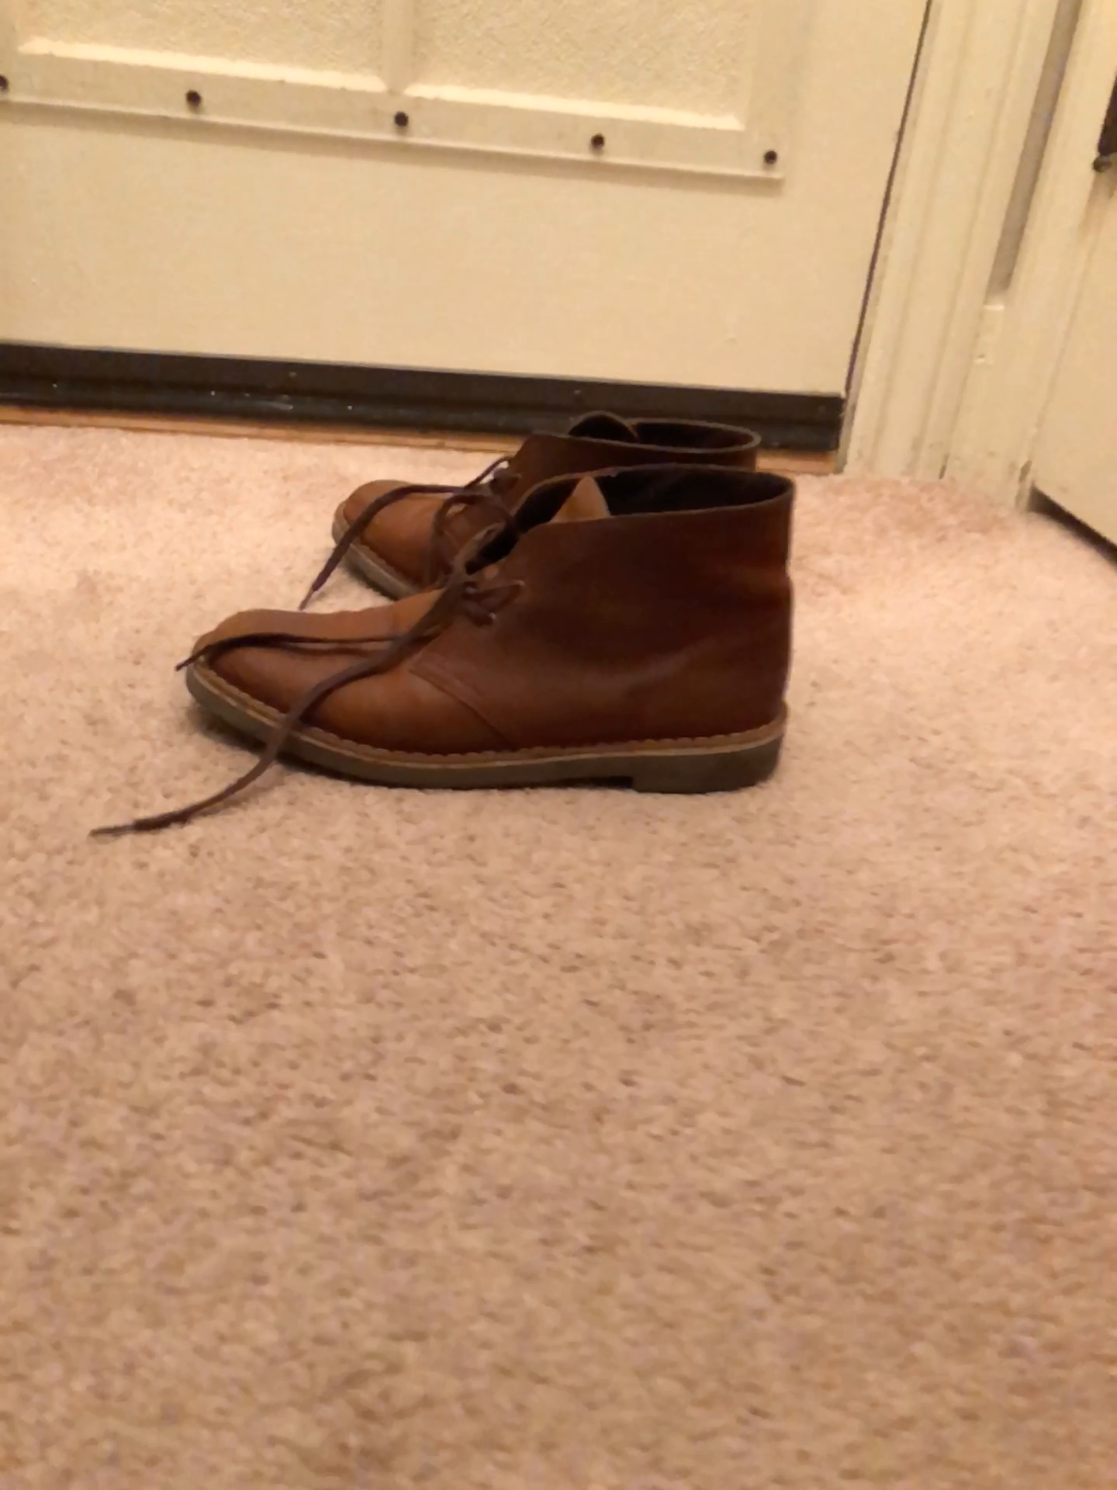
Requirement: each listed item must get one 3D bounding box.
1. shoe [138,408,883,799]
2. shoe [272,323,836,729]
[{"bbox_3d":[-0.026,-0.065,0.571,0.303,0.138,0.111,1,29,-10],"label":"shoe"},{"bbox_3d":[-0.015,-0.140,0.706,0.303,0.138,0.111,22,32,26],"label":"shoe"}]
